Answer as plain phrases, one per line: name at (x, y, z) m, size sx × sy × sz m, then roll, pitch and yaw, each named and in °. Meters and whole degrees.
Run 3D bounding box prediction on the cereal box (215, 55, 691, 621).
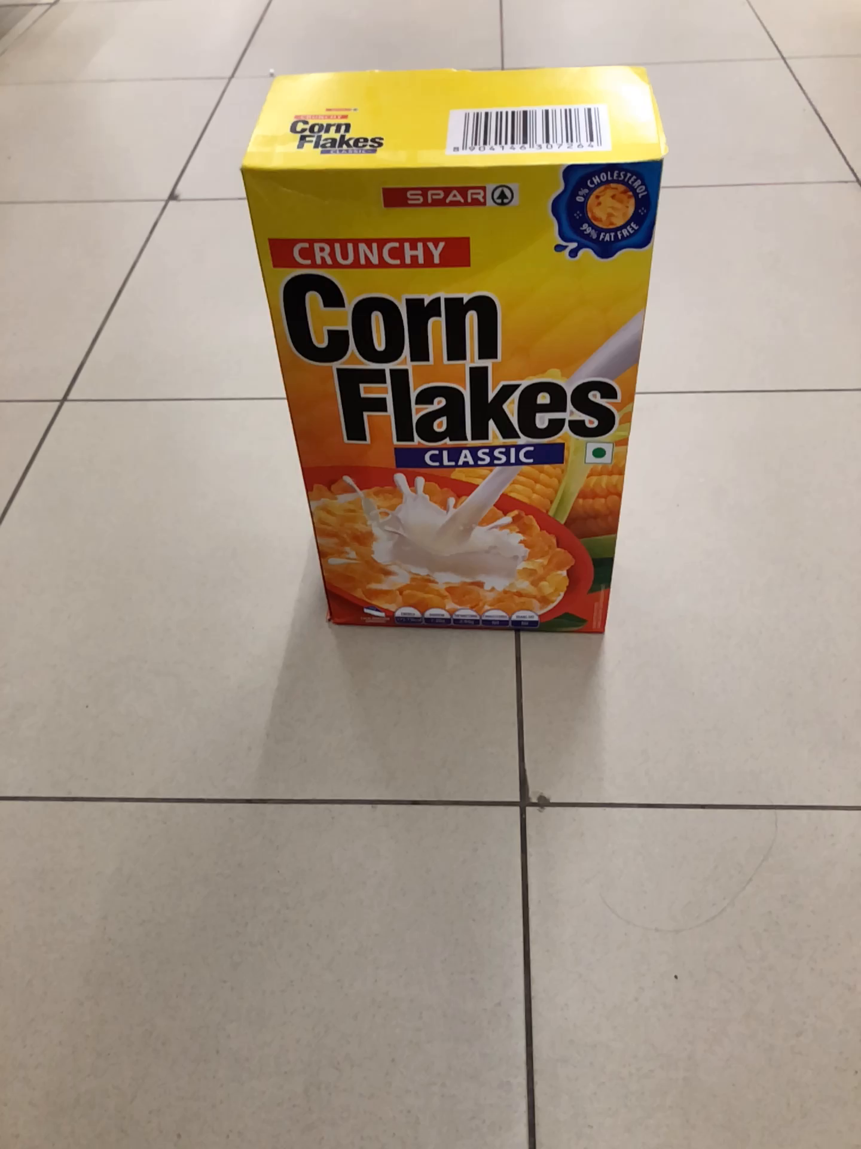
cereal box at (0.019, -0.113, 0.539) m, size 0.200 × 0.298 × 0.101 m, roll 1°, pitch 46°, yaw 5°
